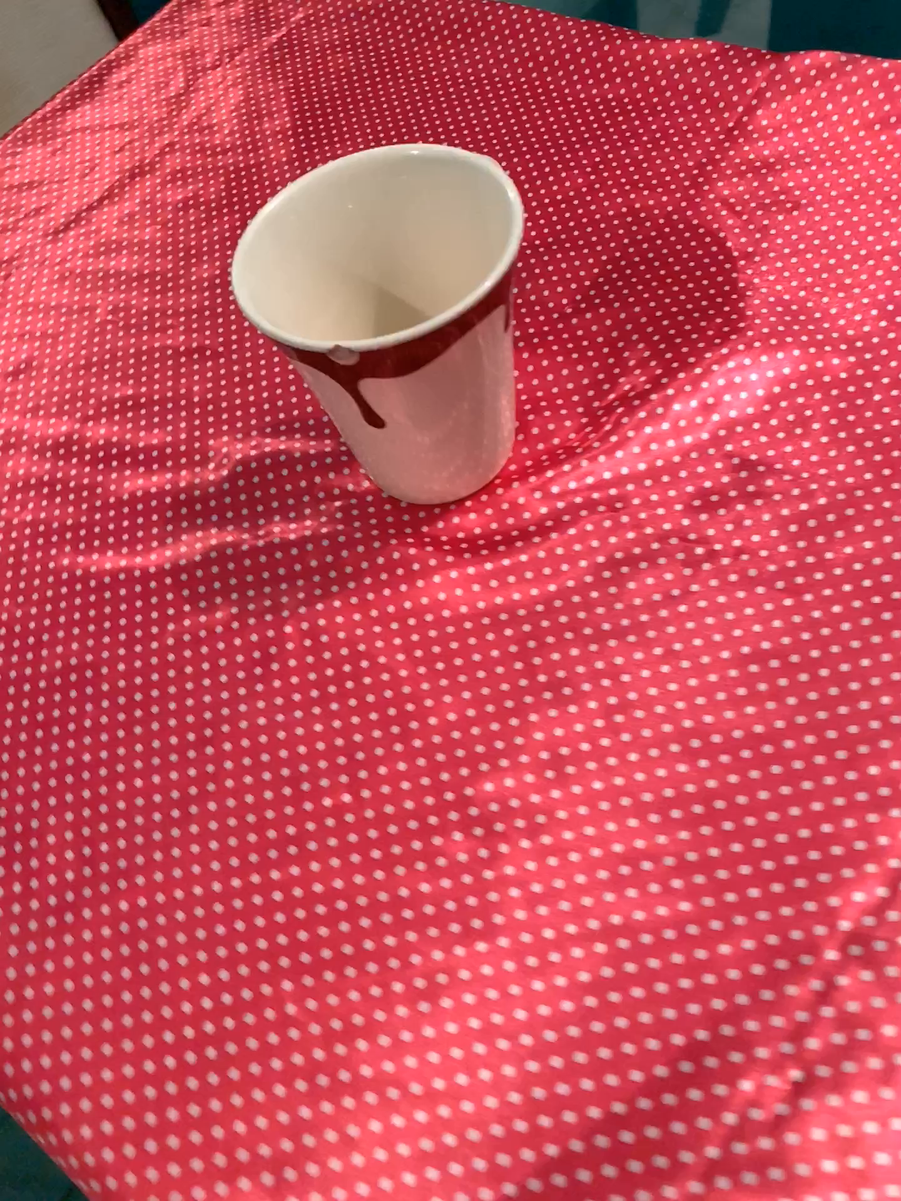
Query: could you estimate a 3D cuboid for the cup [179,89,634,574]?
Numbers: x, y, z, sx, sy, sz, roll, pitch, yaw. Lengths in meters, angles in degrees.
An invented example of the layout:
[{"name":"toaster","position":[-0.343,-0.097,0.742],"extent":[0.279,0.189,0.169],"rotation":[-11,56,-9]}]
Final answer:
[{"name":"cup","position":[-0.004,-0.099,0.333],"extent":[0.100,0.090,0.130],"rotation":[16,64,21]}]
